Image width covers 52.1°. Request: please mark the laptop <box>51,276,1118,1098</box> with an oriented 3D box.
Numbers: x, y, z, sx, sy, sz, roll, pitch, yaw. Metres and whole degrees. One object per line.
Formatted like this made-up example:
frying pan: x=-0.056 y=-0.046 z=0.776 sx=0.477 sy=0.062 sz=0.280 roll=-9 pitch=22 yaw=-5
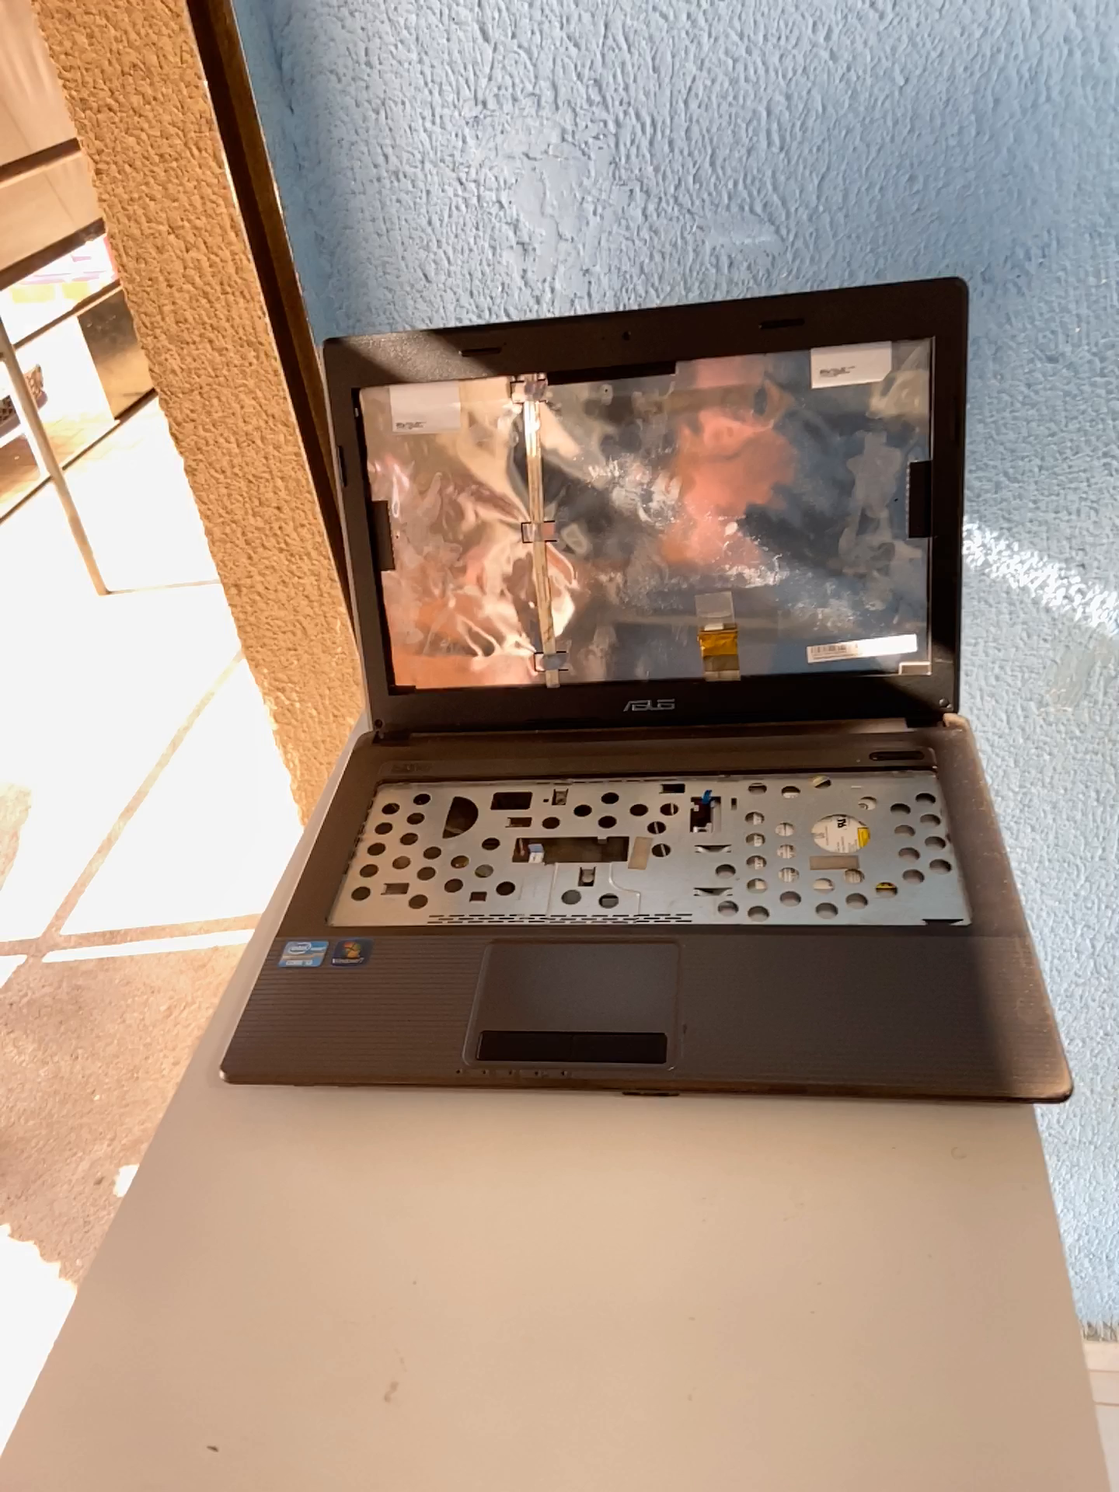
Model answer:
laptop: x=0.031 y=-0.047 z=0.525 sx=0.336 sy=0.202 sz=0.329 roll=-2 pitch=37 yaw=9
